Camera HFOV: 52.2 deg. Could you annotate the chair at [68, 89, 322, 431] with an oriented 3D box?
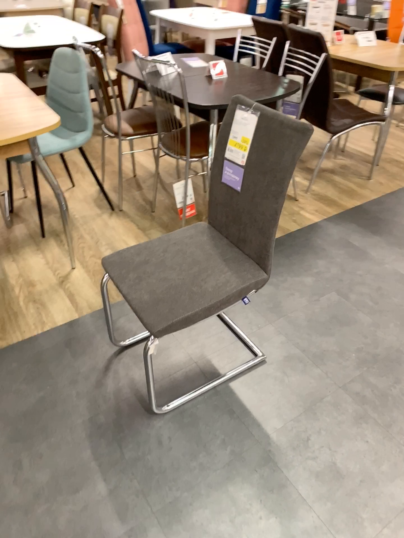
[{"bbox_3d":[-0.032,-0.014,1.416,0.540,0.975,0.437,-21,43,-25],"label":"chair"}]
